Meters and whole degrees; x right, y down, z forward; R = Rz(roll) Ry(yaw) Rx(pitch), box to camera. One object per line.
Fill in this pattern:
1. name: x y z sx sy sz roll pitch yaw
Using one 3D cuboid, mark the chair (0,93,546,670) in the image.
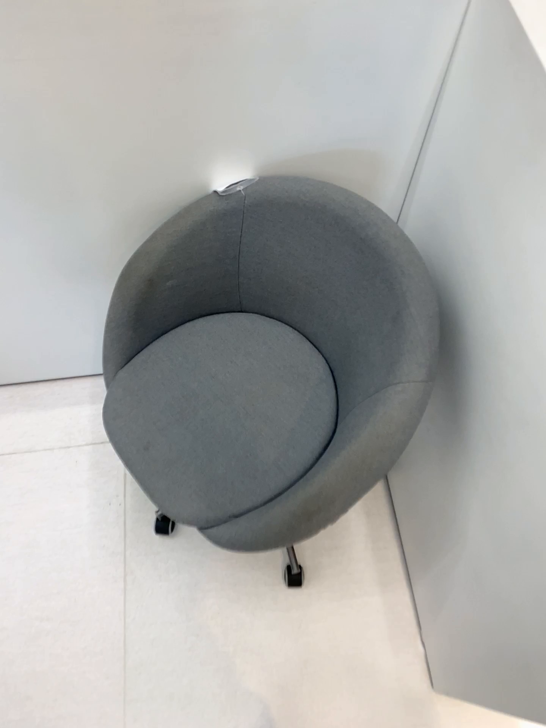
1. chair: -0.006 0.073 1.300 0.721 0.769 0.831 42 70 18
